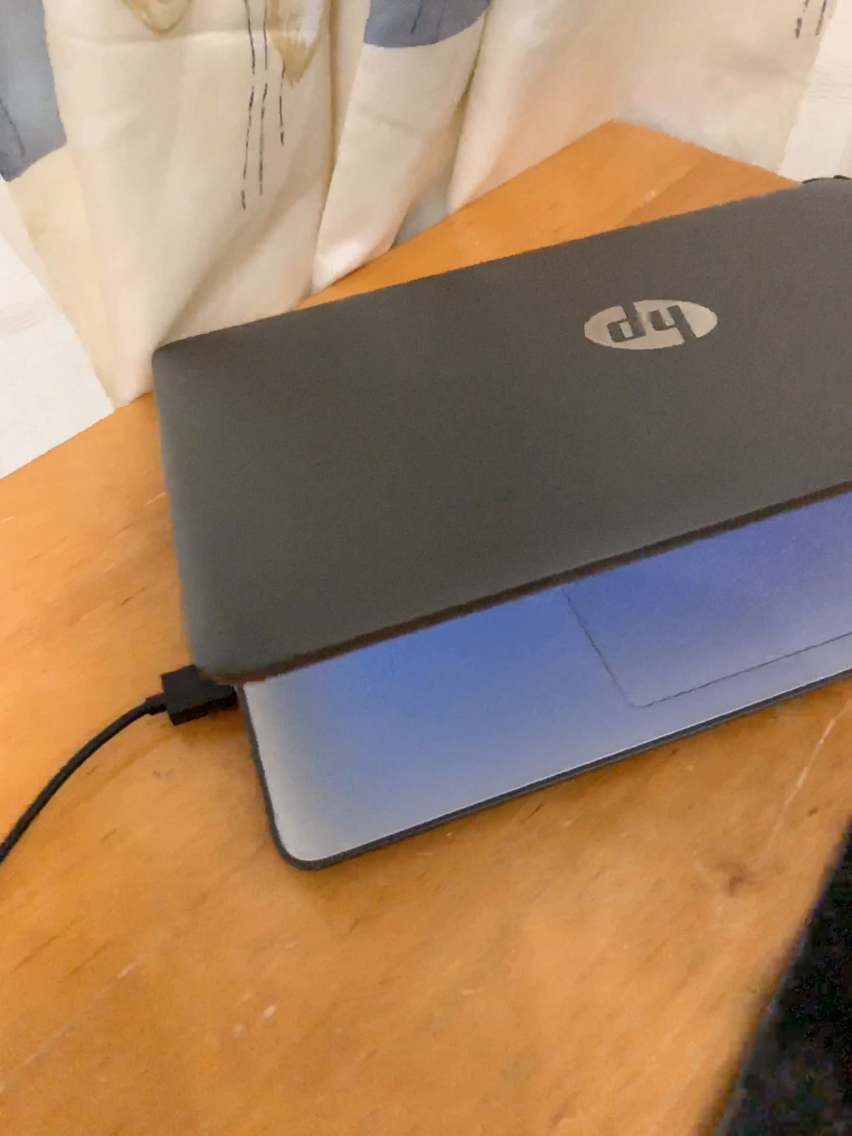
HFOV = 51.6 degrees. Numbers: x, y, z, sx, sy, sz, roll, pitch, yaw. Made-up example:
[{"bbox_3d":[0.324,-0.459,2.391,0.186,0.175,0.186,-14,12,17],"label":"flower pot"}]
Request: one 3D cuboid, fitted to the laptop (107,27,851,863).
[{"bbox_3d":[0.064,-0.063,0.255,0.268,0.066,0.191,-17,52,-10],"label":"laptop"}]
